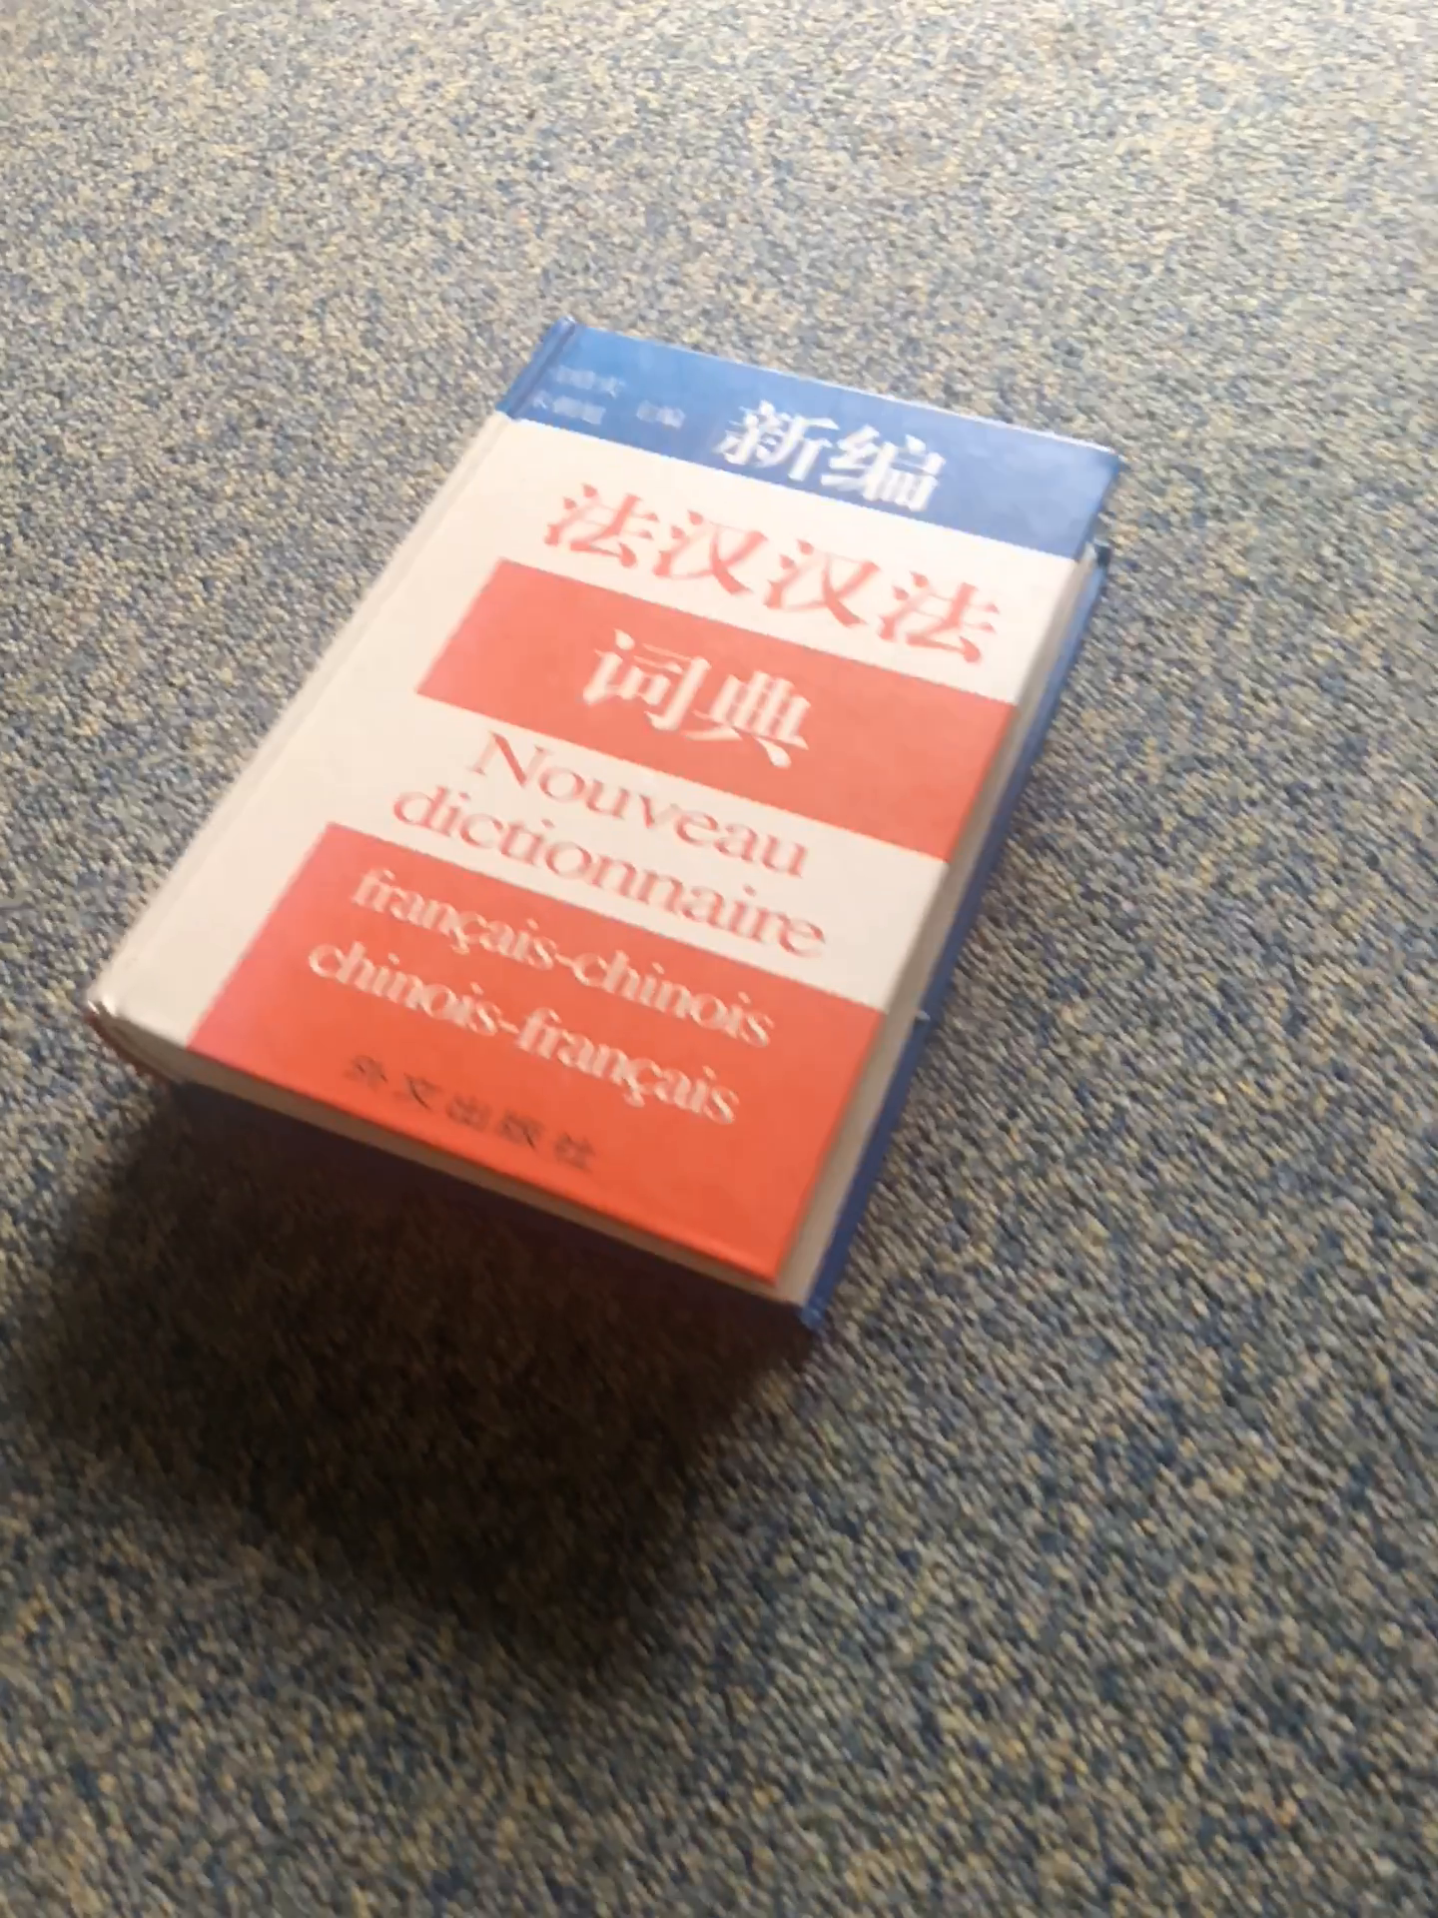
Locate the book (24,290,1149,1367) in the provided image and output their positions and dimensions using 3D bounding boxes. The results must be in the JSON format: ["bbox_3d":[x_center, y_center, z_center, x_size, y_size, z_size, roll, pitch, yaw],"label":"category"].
[{"bbox_3d":[-0.016,-0.044,0.333,0.152,0.034,0.209,18,64,14],"label":"book"}]
